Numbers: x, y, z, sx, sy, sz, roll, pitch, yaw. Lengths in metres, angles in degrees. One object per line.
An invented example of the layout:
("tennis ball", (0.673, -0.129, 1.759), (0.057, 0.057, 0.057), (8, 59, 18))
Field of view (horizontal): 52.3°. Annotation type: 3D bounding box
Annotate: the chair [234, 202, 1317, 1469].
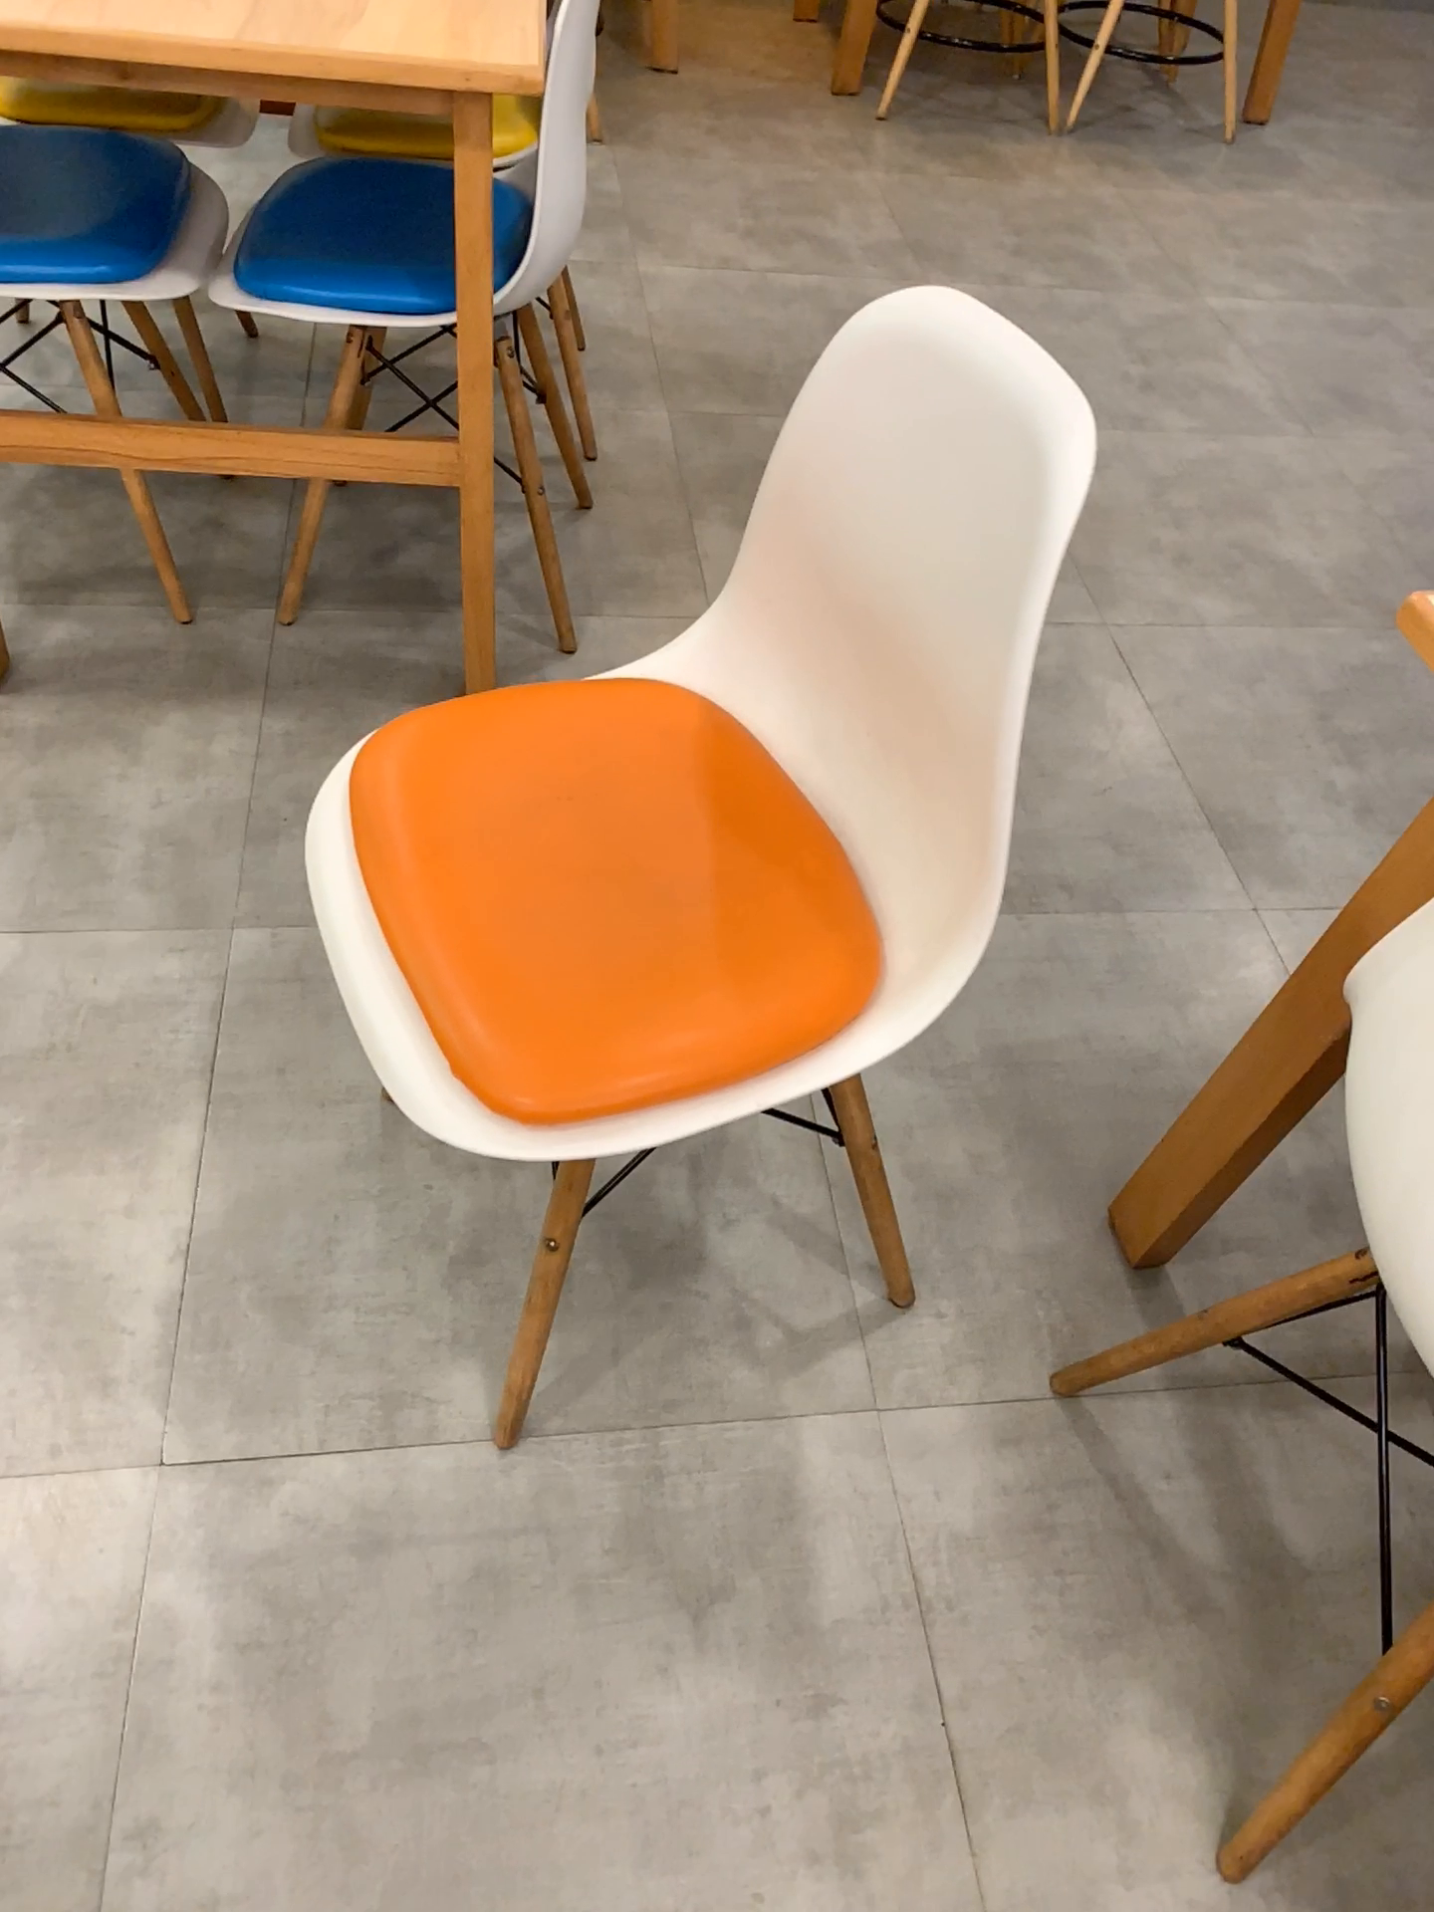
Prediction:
("chair", (-0.030, -0.067, 1.047), (0.451, 0.724, 0.443), (-13, 49, -20))
